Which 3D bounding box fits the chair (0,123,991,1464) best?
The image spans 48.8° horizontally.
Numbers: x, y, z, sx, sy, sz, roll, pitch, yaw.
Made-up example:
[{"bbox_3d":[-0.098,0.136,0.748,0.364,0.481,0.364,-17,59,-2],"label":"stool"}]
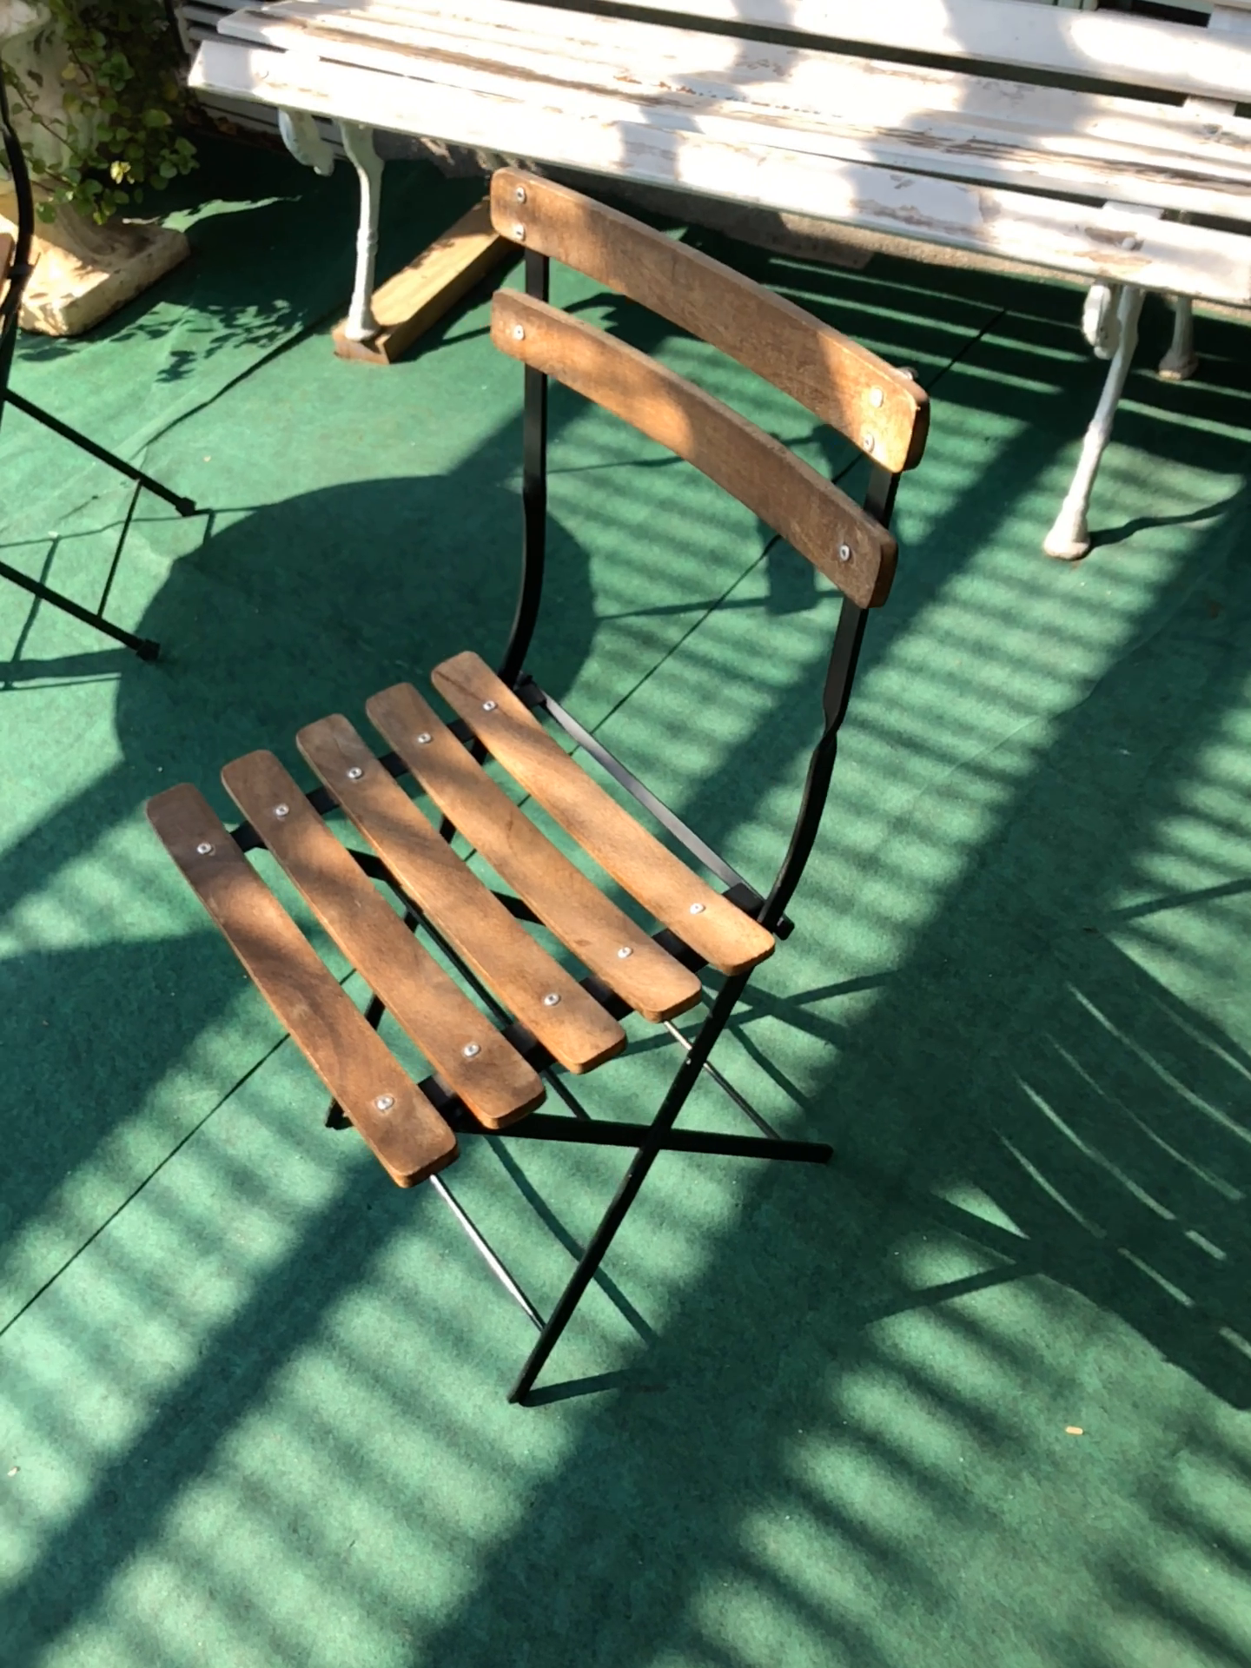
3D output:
[{"bbox_3d":[-0.089,0.007,0.879,0.401,0.656,0.392,-31,53,-19],"label":"chair"}]
